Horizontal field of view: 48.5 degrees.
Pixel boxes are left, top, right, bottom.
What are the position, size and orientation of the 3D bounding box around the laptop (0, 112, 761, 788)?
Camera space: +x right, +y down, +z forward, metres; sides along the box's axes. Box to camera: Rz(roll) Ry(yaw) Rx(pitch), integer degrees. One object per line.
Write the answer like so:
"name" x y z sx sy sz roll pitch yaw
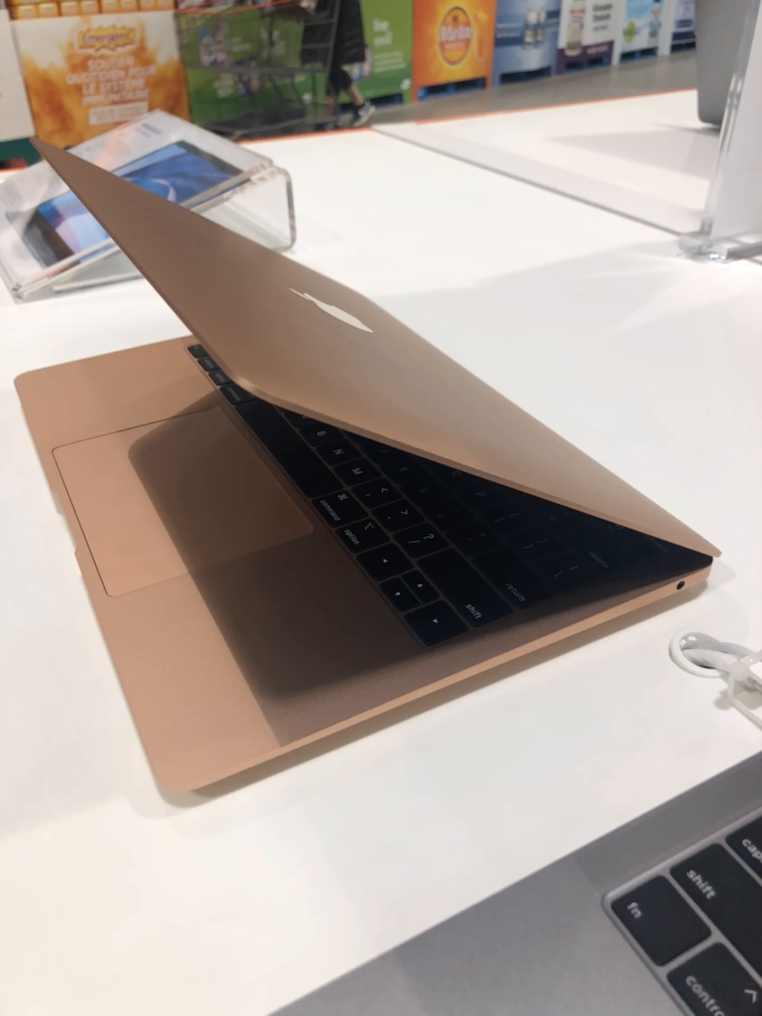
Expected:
"laptop" -0.040 -0.071 0.348 0.199 0.106 0.297 -18 37 -21
